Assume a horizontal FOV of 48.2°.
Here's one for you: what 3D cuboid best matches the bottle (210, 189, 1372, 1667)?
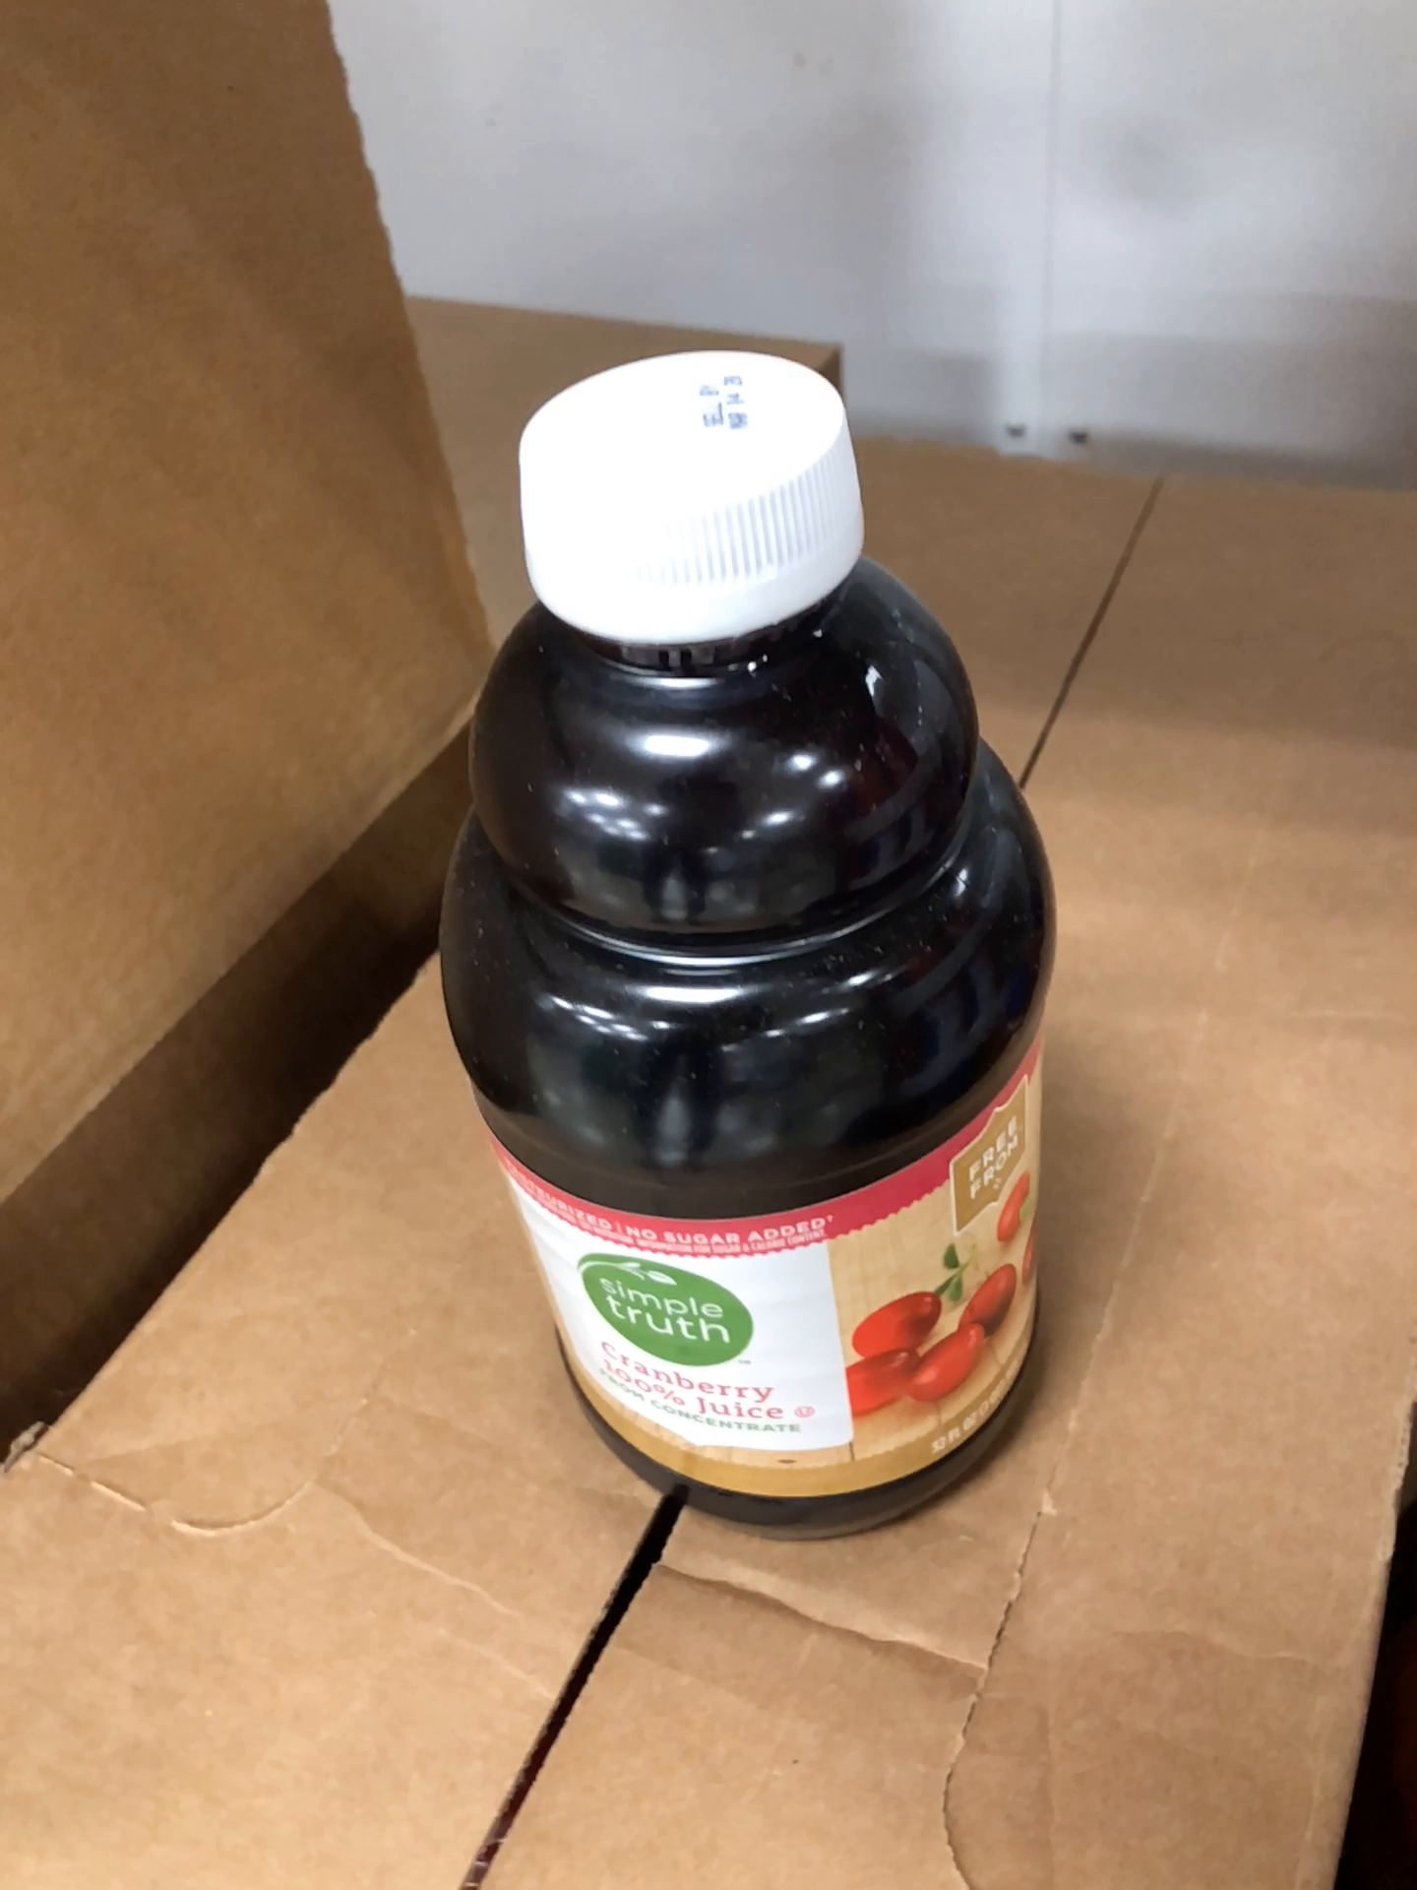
[{"bbox_3d":[0.013,0.008,0.259,0.110,0.199,0.100,-5,43,5],"label":"bottle"}]

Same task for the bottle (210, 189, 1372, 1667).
[{"bbox_3d":[0.013,0.008,0.259,0.110,0.199,0.100,-5,43,5],"label":"bottle"}]
